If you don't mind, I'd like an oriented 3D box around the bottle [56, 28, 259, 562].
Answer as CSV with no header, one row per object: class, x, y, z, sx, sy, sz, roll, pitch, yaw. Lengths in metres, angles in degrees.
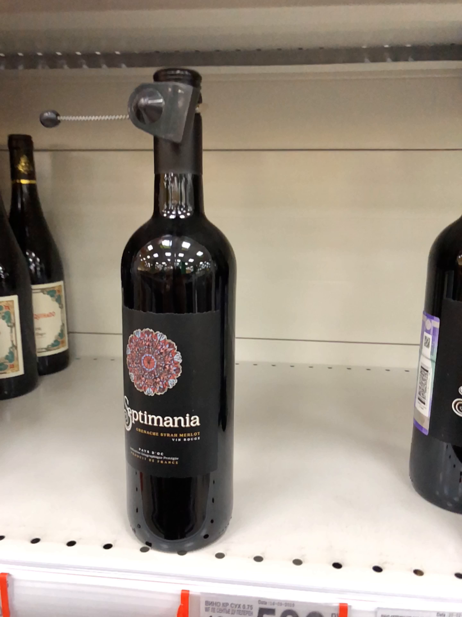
bottle,-0.037,-0.004,0.327,0.090,0.291,0.090,0,12,0
